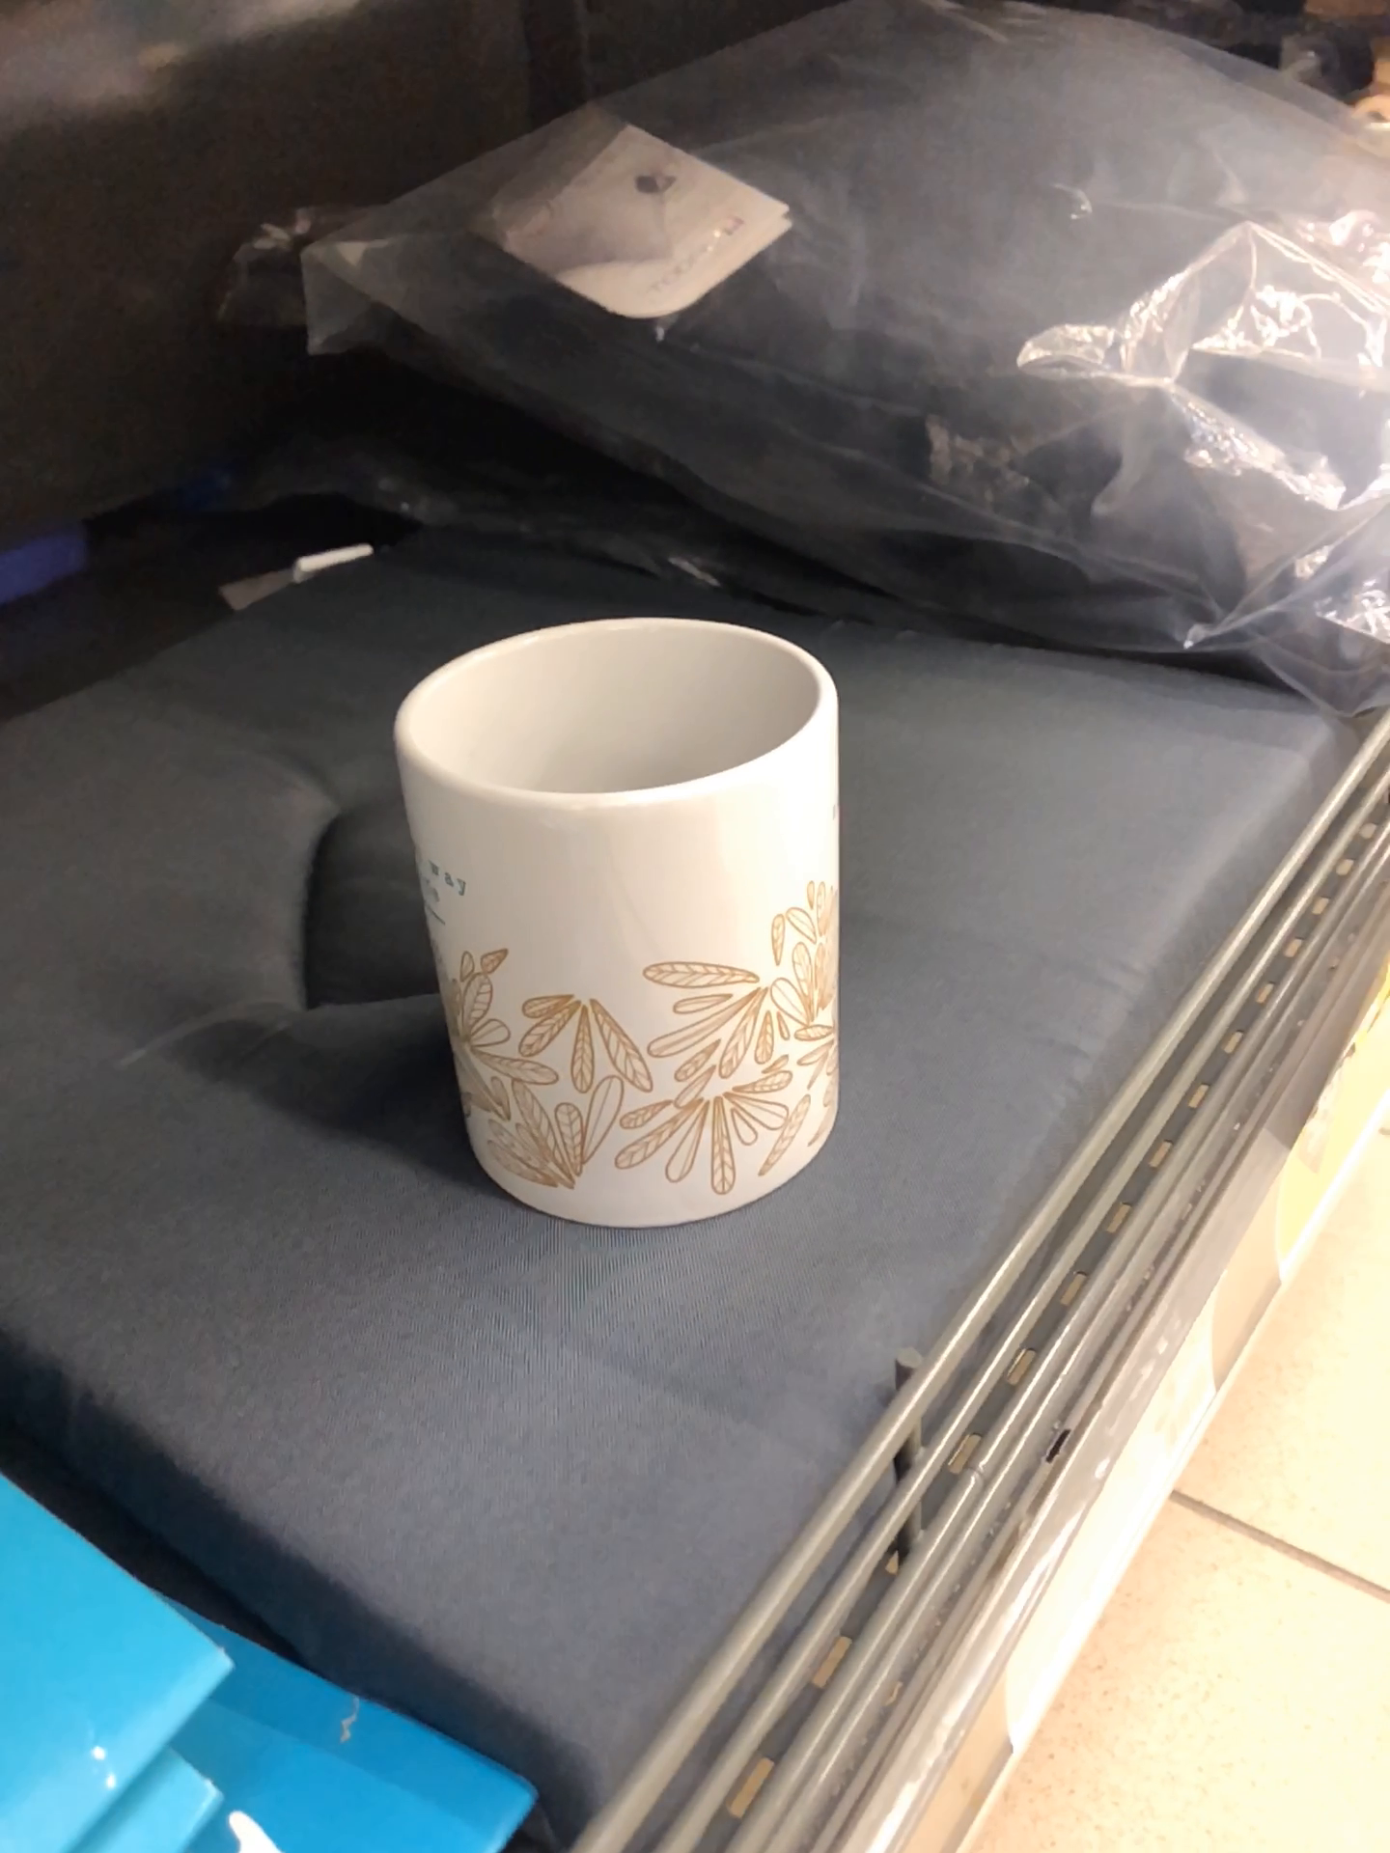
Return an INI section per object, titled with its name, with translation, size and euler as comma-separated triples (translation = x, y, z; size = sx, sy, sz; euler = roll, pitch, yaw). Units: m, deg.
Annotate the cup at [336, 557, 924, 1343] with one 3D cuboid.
[cup]
translation = -0.017, -0.003, 0.319
size = 0.090, 0.099, 0.121
euler = -11, 33, -10
